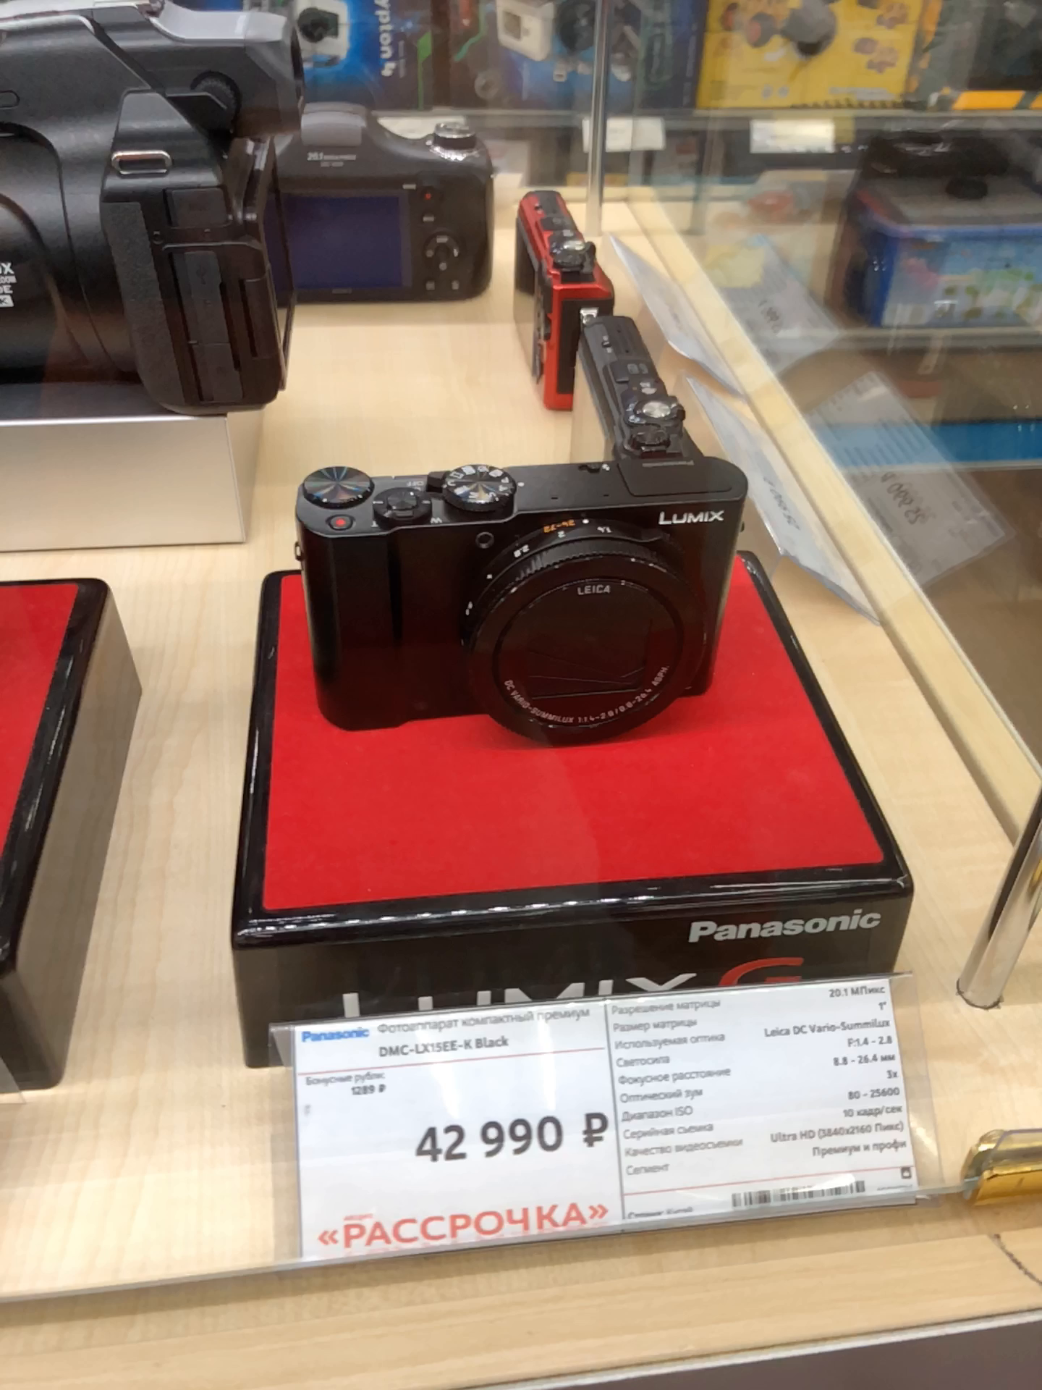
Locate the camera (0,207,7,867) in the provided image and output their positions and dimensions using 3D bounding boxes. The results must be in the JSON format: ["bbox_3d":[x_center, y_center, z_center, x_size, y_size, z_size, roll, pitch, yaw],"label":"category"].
[{"bbox_3d":[-0.185,-0.032,0.240,0.110,0.112,0.066,-4,40,-7],"label":"camera"}]

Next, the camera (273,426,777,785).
[{"bbox_3d":[-0.002,-0.022,0.286,0.110,0.070,0.040,-5,40,-9],"label":"camera"}]

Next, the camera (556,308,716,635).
[{"bbox_3d":[0.038,-0.085,0.422,0.033,0.072,0.111,-2,40,-5],"label":"camera"}]

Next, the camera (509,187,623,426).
[{"bbox_3d":[0.018,-0.187,0.549,0.033,0.072,0.111,-3,40,-7],"label":"camera"}]
